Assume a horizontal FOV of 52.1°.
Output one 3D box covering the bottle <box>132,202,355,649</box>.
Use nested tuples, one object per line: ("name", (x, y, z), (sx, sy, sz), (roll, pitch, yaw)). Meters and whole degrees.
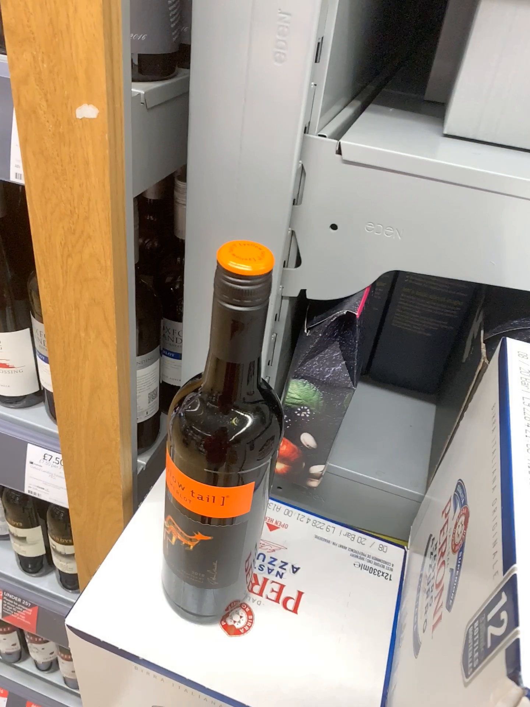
("bottle", (-0.027, 0.066, 0.352), (0.078, 0.297, 0.077), (5, 37, -4))
